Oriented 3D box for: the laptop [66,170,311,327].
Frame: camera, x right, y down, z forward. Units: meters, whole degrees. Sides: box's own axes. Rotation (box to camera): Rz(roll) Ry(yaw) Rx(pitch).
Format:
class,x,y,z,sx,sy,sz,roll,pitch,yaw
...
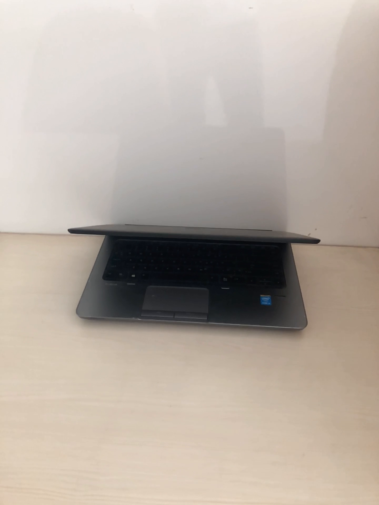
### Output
class,x,y,z,sx,sy,sz,roll,pitch,yaw
laptop,0.004,-0.016,0.664,0.319,0.118,0.221,3,38,2
